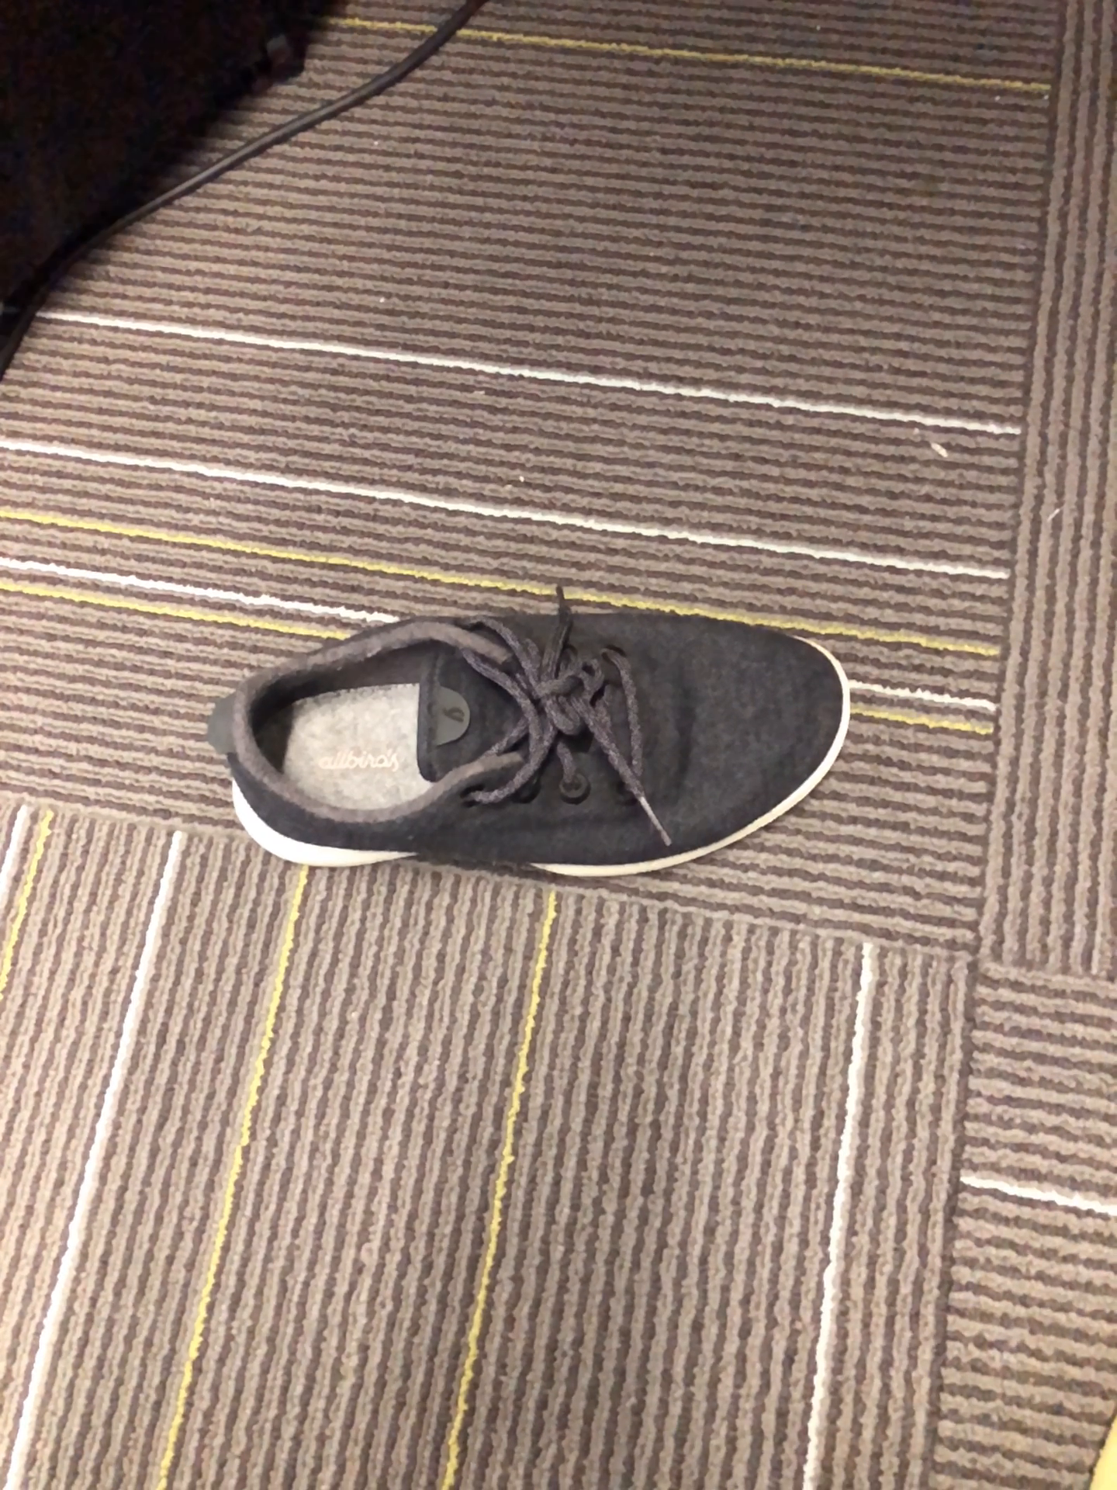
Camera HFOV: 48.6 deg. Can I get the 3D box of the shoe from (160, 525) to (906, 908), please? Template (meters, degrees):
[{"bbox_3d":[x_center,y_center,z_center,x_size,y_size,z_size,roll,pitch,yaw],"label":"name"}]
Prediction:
[{"bbox_3d":[-0.012,-0.007,0.495,0.270,0.070,0.120,-4,74,3],"label":"shoe"}]
